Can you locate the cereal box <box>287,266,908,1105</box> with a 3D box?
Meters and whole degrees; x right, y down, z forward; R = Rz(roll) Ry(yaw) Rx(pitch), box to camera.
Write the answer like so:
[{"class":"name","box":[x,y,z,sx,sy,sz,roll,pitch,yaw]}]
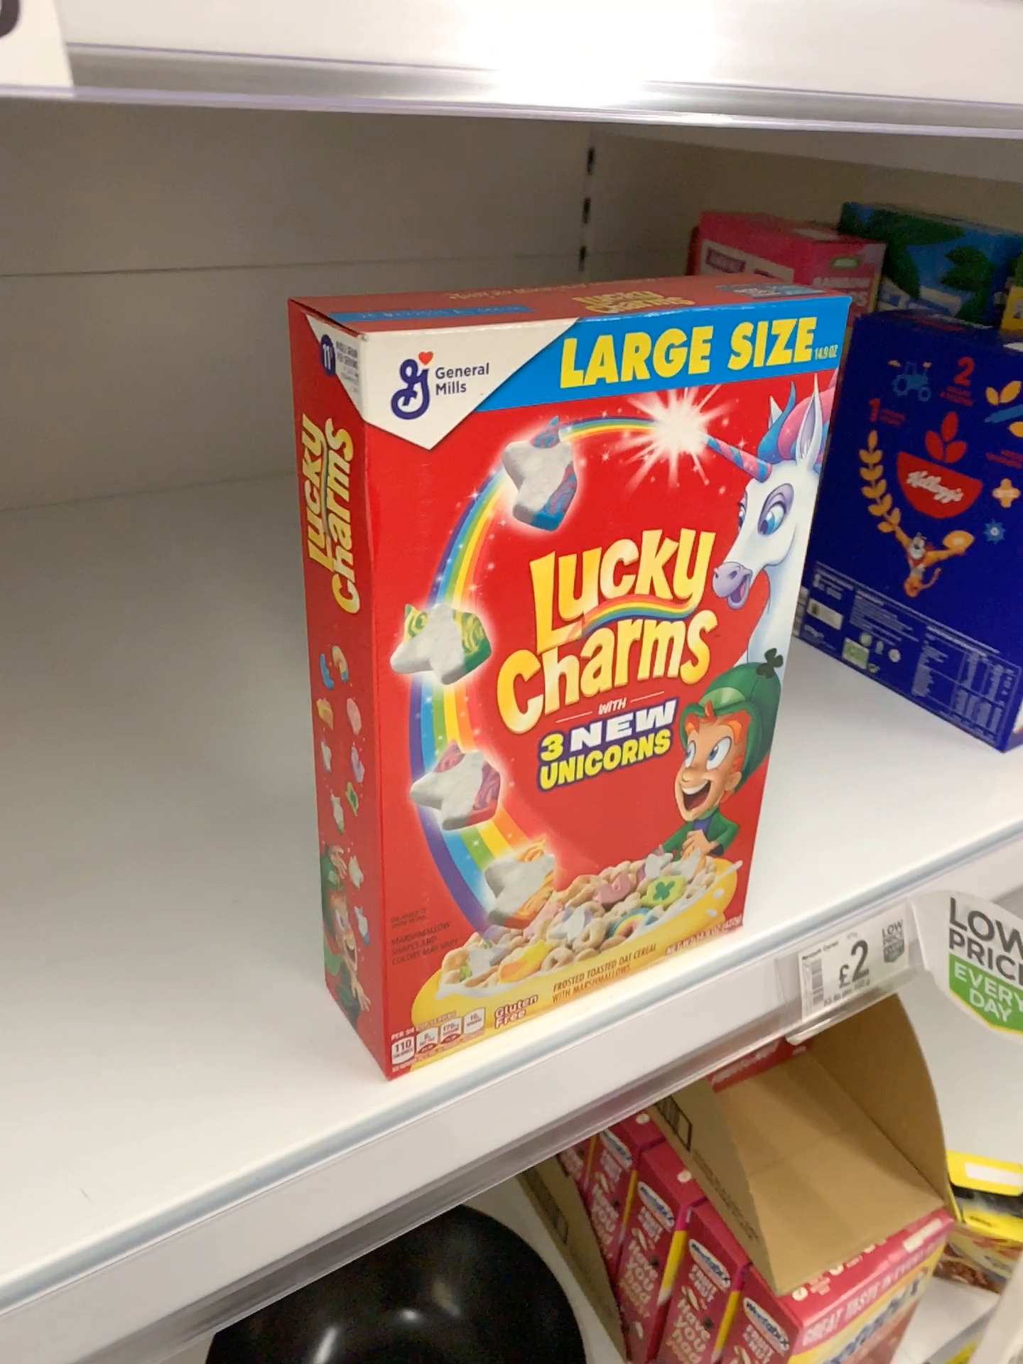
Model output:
[{"class":"cereal box","box":[0.030,-0.002,0.427,0.211,0.297,0.070,-14,32,-29]}]
